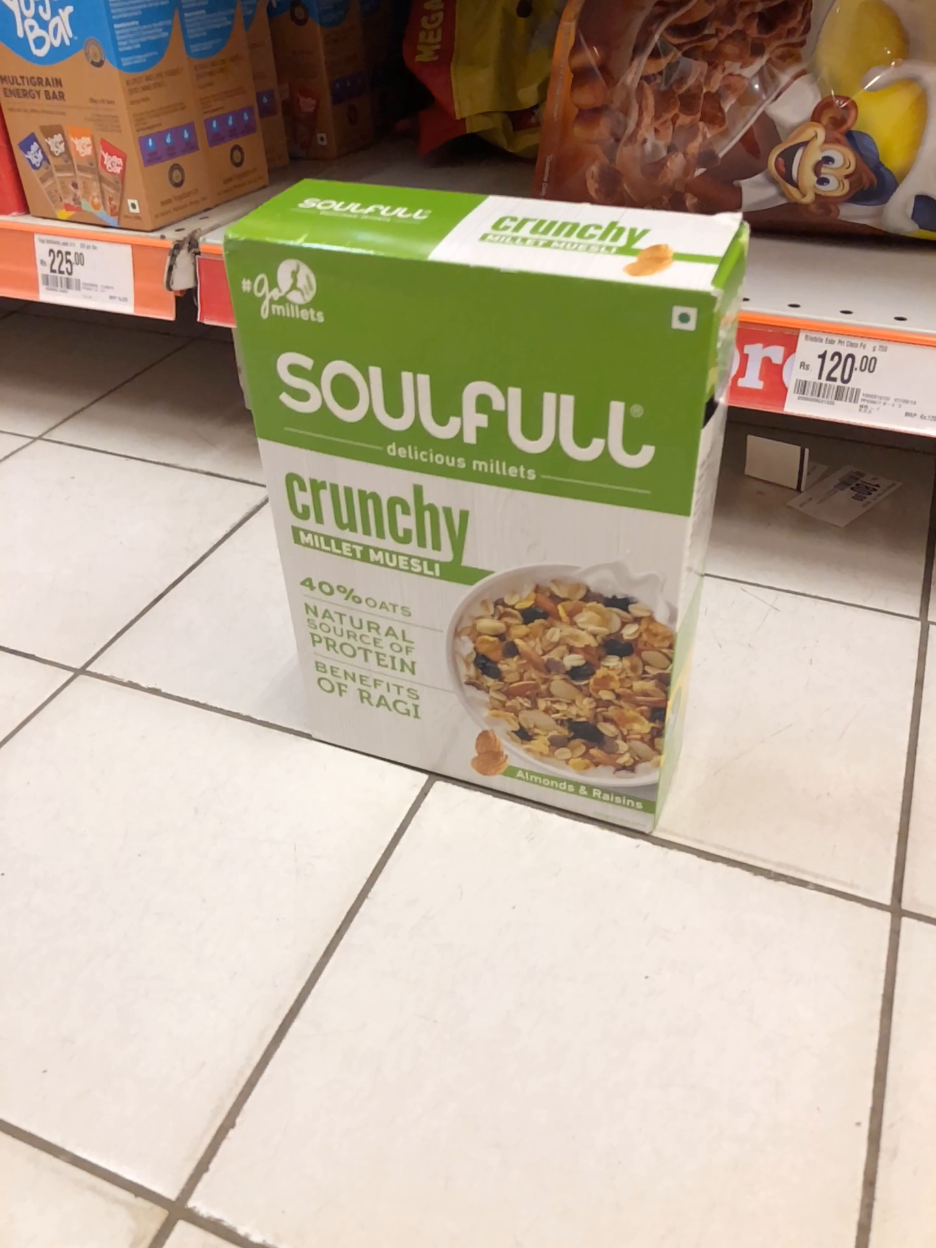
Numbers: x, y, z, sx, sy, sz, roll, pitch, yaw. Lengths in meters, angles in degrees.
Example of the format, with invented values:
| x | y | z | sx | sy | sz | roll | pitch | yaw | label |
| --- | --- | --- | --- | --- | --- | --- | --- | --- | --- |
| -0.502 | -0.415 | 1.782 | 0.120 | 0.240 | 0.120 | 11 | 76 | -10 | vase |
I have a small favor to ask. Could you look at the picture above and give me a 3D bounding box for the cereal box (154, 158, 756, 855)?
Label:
| x | y | z | sx | sy | sz | roll | pitch | yaw | label |
| --- | --- | --- | --- | --- | --- | --- | --- | --- | --- |
| -0.003 | -0.038 | 0.396 | 0.180 | 0.238 | 0.060 | 12 | 39 | 18 | cereal box |
